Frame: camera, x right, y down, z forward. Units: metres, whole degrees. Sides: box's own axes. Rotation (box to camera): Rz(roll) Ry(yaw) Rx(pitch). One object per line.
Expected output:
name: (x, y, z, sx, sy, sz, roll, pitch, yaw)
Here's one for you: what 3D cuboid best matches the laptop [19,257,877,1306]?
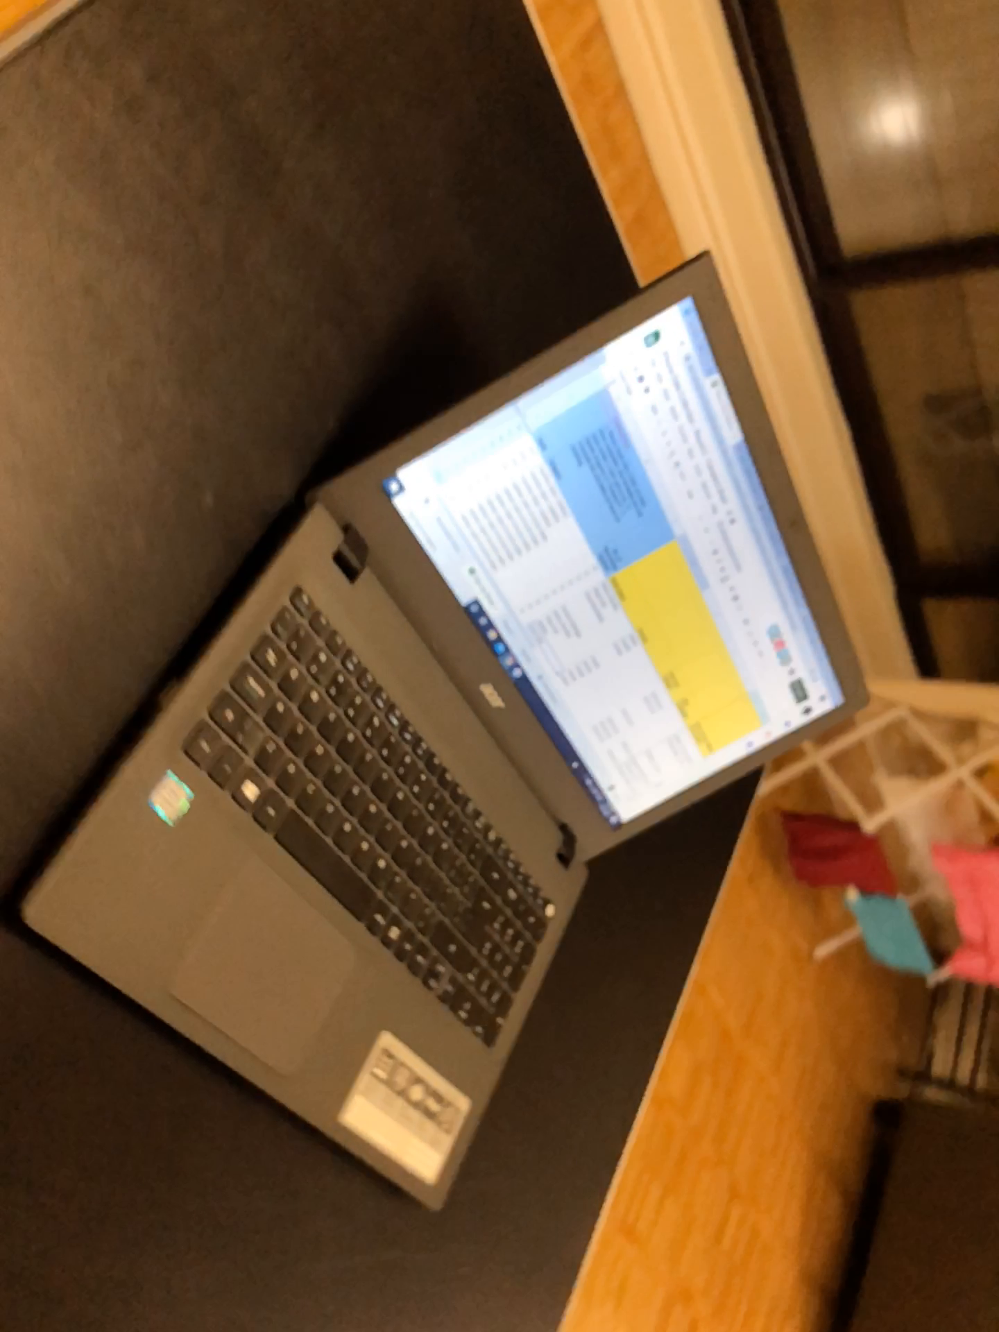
laptop: (0.039, 0.065, 0.641, 0.375, 0.162, 0.430, 56, 51, -39)
